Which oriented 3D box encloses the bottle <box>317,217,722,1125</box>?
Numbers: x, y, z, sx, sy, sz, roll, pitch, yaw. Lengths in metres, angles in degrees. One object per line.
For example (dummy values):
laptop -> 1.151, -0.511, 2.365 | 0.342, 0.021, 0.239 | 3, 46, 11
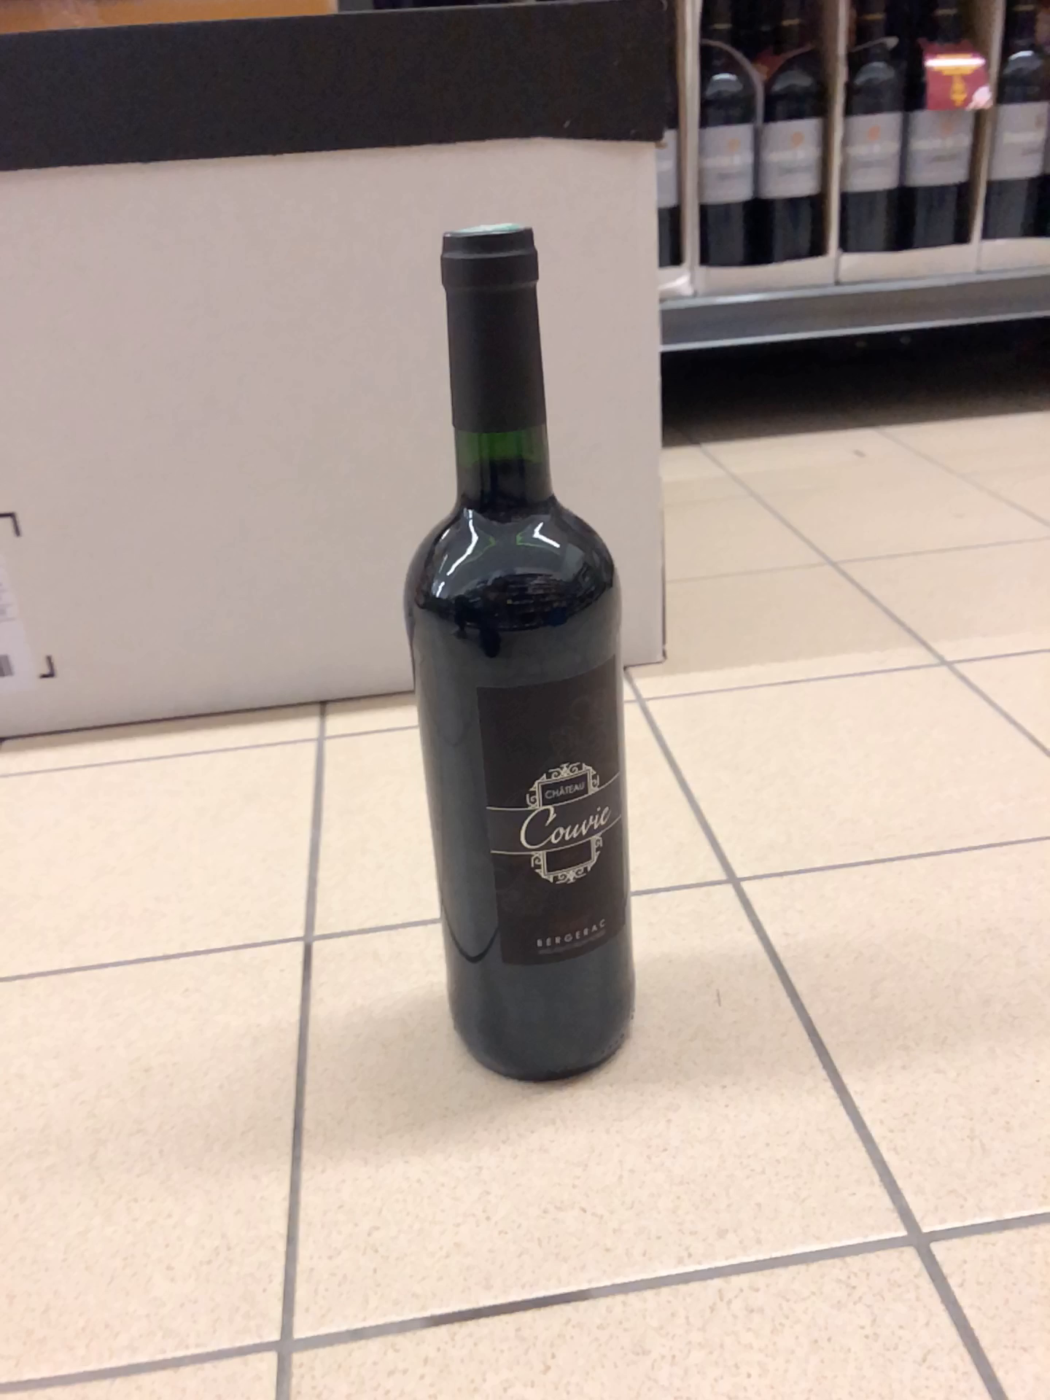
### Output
bottle -> 0.004, -0.007, 0.403 | 0.090, 0.288, 0.090 | -3, 25, 2
